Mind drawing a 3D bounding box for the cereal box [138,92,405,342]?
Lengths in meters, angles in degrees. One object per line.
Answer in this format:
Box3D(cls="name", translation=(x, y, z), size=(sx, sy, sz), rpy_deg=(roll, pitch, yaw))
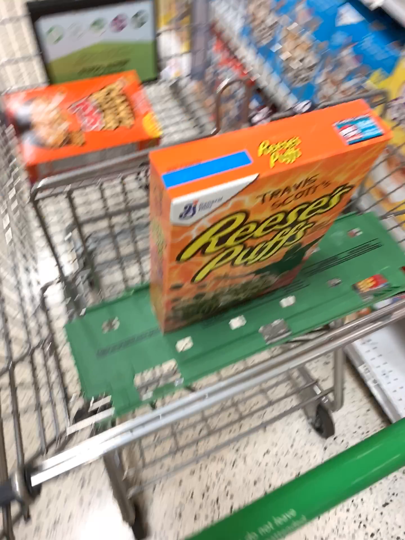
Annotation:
Box3D(cls="cereal box", translation=(0.047, -0.030, 0.430), size=(0.211, 0.278, 0.050), rpy_deg=(-19, 66, -16))
